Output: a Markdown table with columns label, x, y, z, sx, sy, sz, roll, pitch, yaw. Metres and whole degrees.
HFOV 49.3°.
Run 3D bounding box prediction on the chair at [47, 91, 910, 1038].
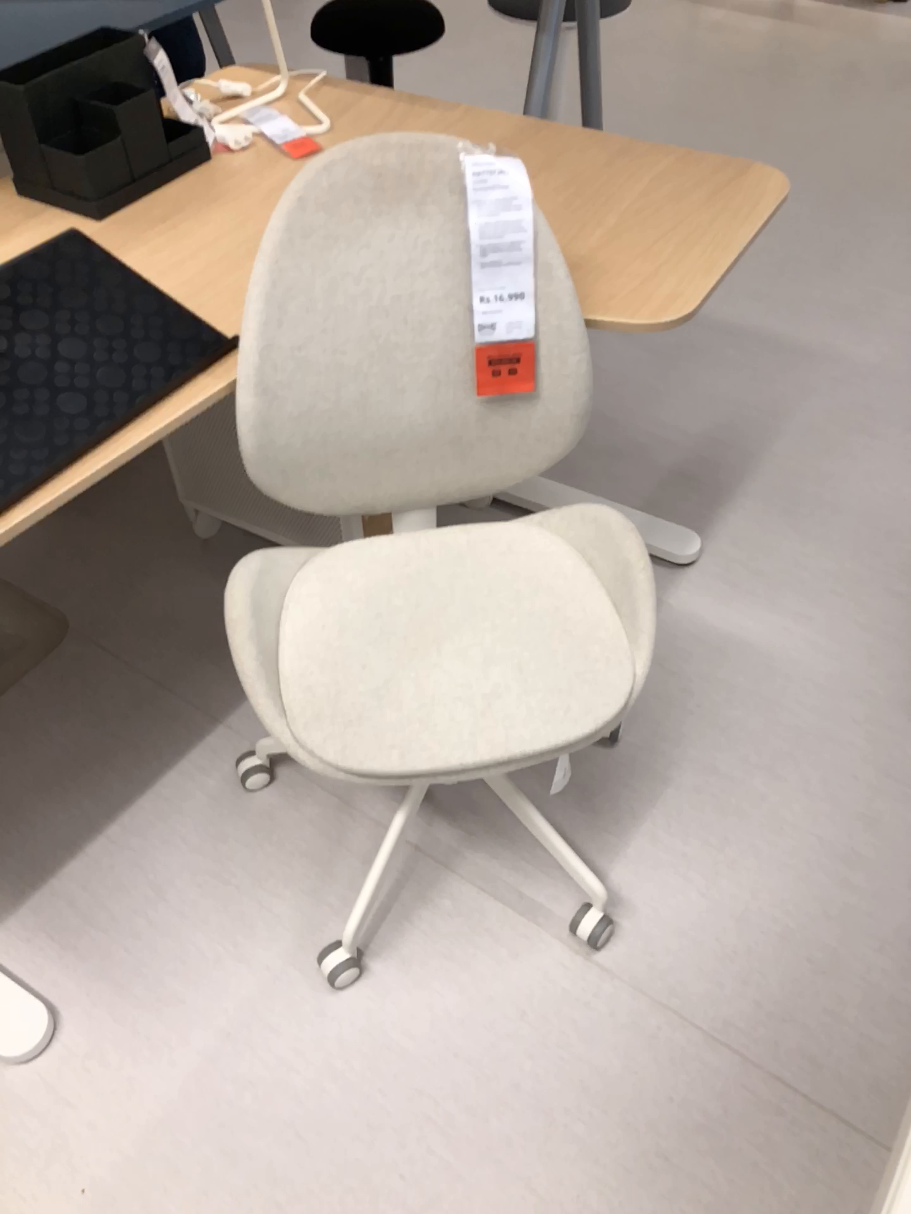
| label | x | y | z | sx | sy | sz | roll | pitch | yaw |
| --- | --- | --- | --- | --- | --- | --- | --- | --- | --- |
| chair | -0.017 | -0.003 | 1.302 | 0.660 | 0.994 | 0.624 | -10 | 47 | -8 |
